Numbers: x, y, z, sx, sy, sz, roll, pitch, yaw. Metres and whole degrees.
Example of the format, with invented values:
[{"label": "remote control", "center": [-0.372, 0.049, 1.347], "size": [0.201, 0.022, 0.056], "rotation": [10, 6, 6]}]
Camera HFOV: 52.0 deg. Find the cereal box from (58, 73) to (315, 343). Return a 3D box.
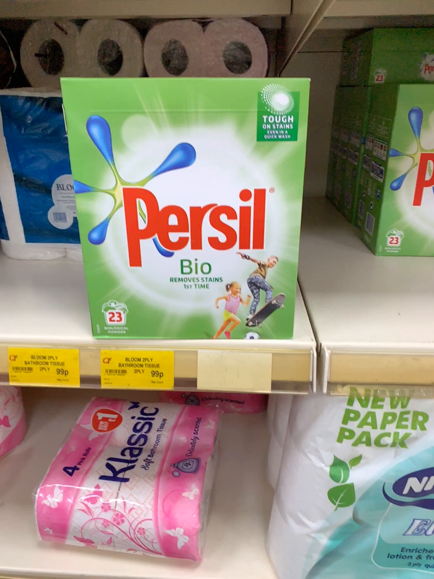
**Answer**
[{"label": "cereal box", "center": [-0.023, -0.076, 0.434], "size": [0.200, 0.238, 0.091], "rotation": [0, 23, 1]}]
